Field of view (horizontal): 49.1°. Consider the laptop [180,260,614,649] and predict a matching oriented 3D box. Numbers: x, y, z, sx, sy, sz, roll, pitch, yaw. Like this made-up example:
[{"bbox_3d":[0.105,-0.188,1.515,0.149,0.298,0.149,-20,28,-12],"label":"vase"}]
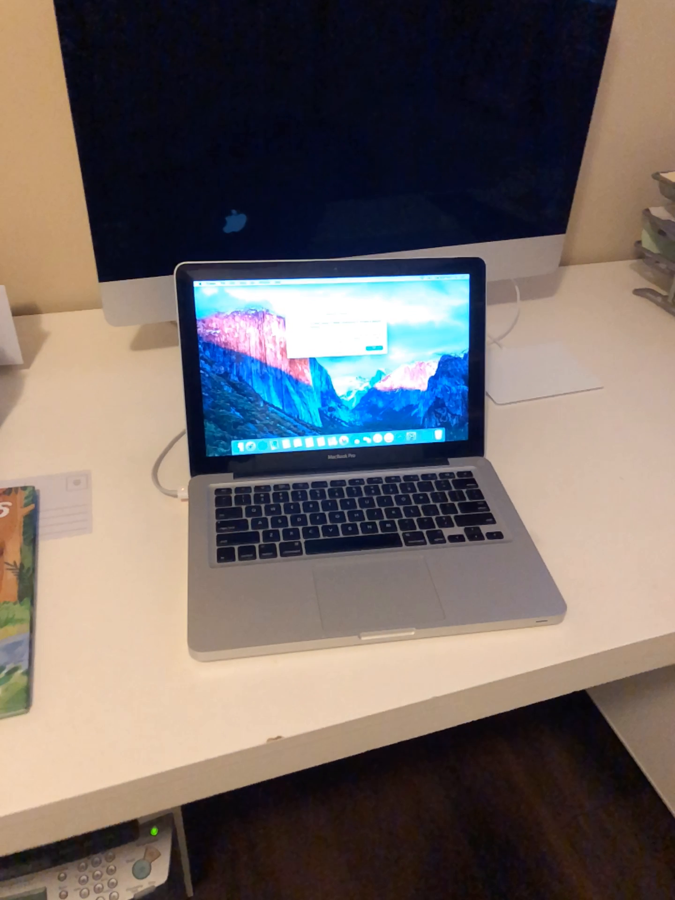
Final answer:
[{"bbox_3d":[0.018,-0.020,0.681,0.302,0.187,0.314,-4,37,-8],"label":"laptop"}]
